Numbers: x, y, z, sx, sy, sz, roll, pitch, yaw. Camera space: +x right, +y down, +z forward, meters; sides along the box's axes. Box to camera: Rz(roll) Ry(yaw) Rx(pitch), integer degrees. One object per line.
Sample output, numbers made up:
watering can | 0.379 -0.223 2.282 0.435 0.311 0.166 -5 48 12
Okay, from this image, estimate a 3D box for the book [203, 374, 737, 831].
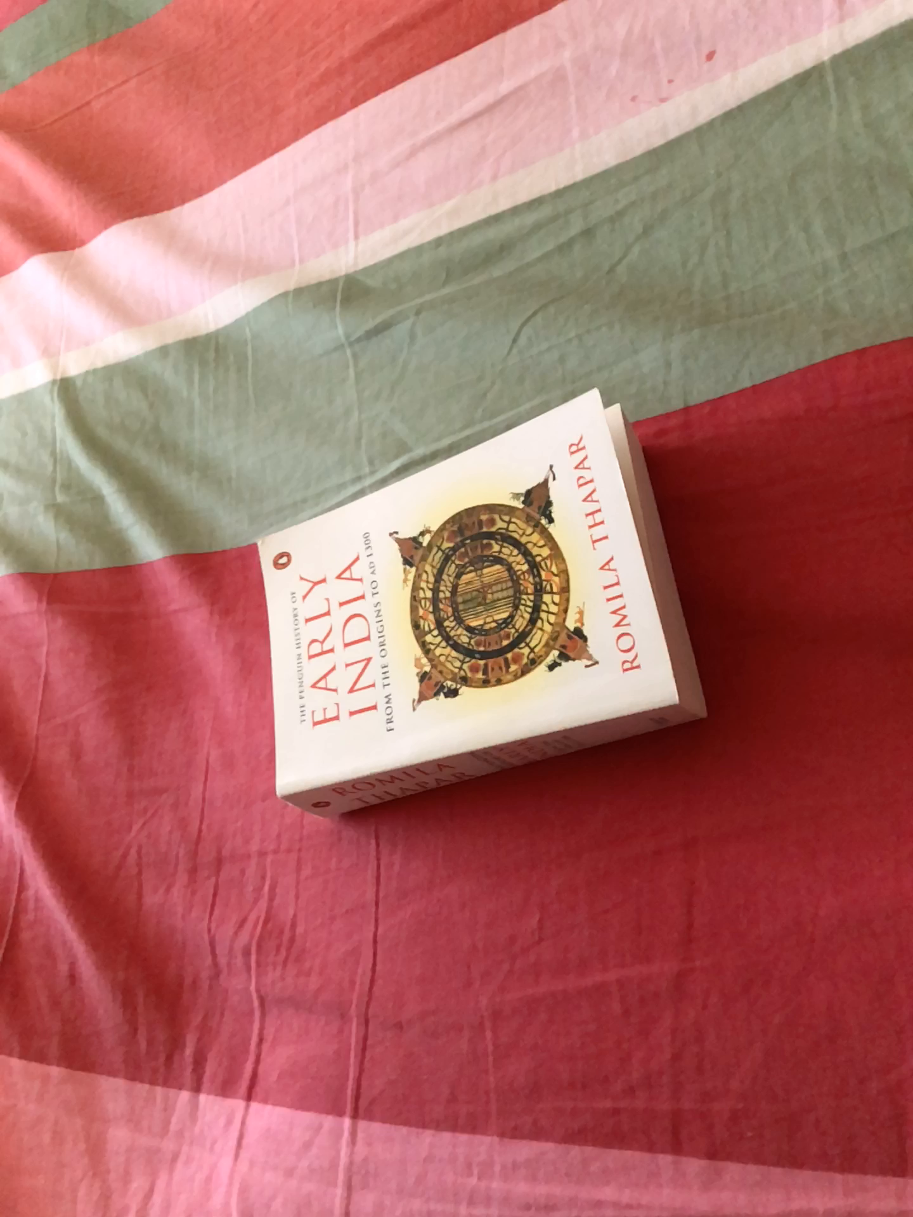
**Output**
book | -0.003 0.007 0.428 0.201 0.070 0.120 -20 63 22
